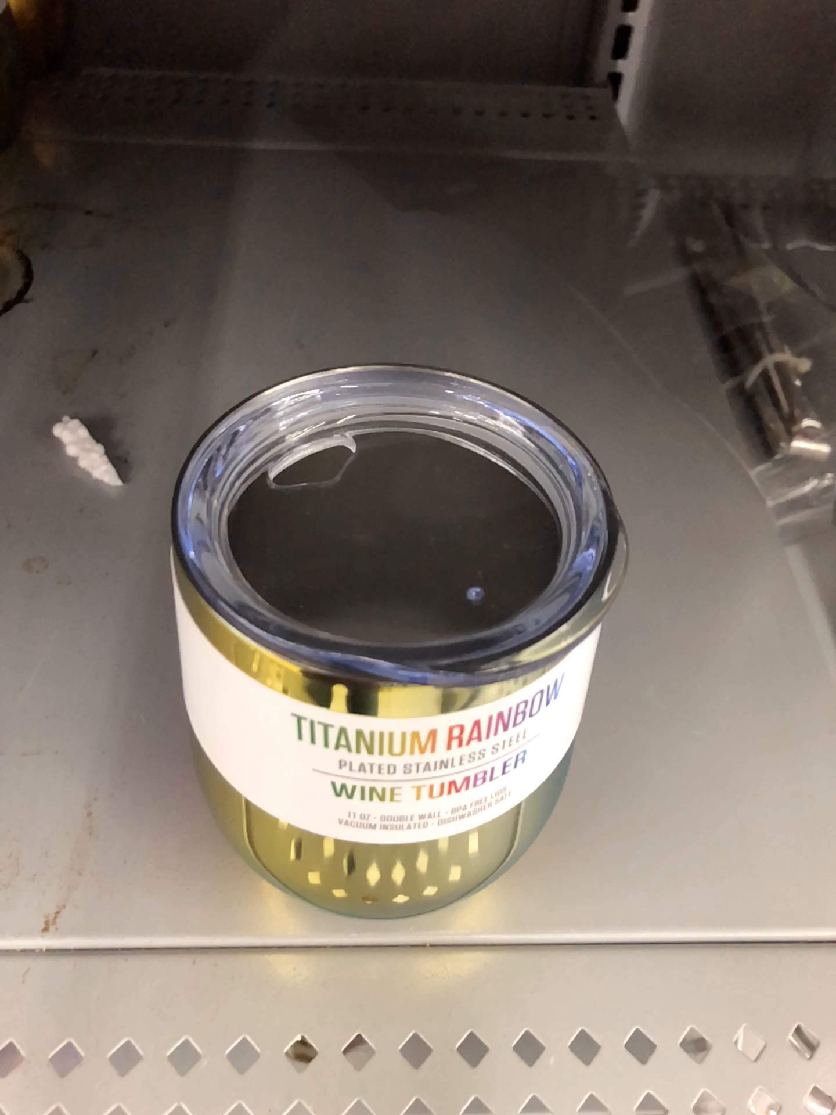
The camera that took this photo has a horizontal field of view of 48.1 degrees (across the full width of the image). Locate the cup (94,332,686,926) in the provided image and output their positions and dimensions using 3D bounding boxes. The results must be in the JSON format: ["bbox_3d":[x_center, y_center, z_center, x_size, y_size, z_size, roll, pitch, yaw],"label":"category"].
[{"bbox_3d":[-0.009,0.019,0.202,0.086,0.108,0.076,-1,50,-6],"label":"cup"}]
